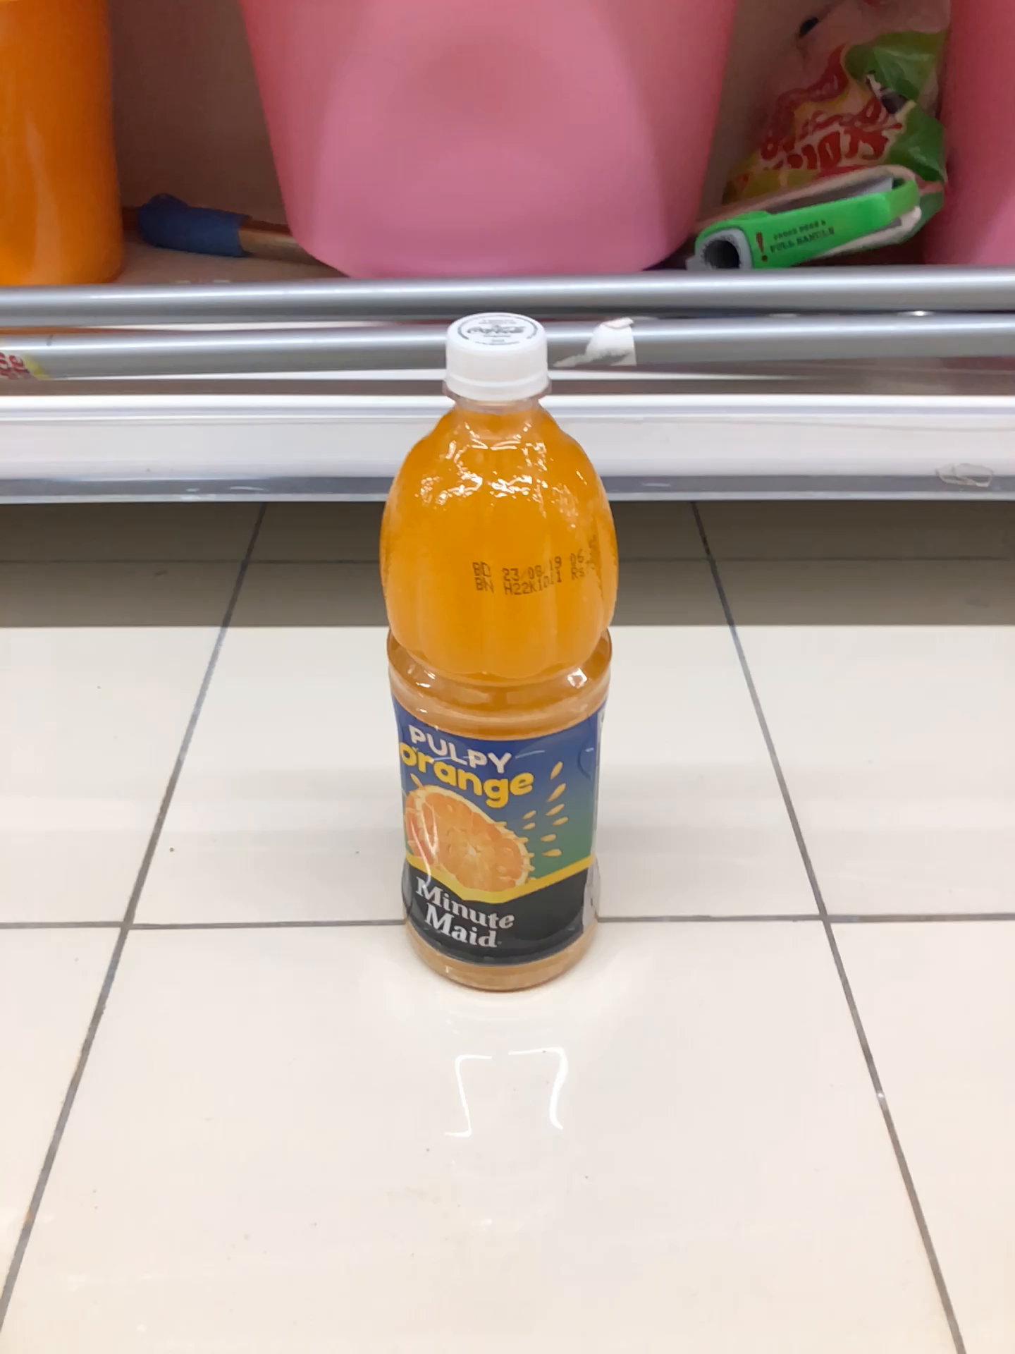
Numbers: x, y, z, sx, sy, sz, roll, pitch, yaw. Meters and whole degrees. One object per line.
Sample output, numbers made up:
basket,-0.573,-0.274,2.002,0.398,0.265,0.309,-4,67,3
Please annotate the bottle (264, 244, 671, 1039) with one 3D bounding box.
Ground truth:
bottle,-0.010,-0.002,0.406,0.090,0.268,0.081,19,40,24
